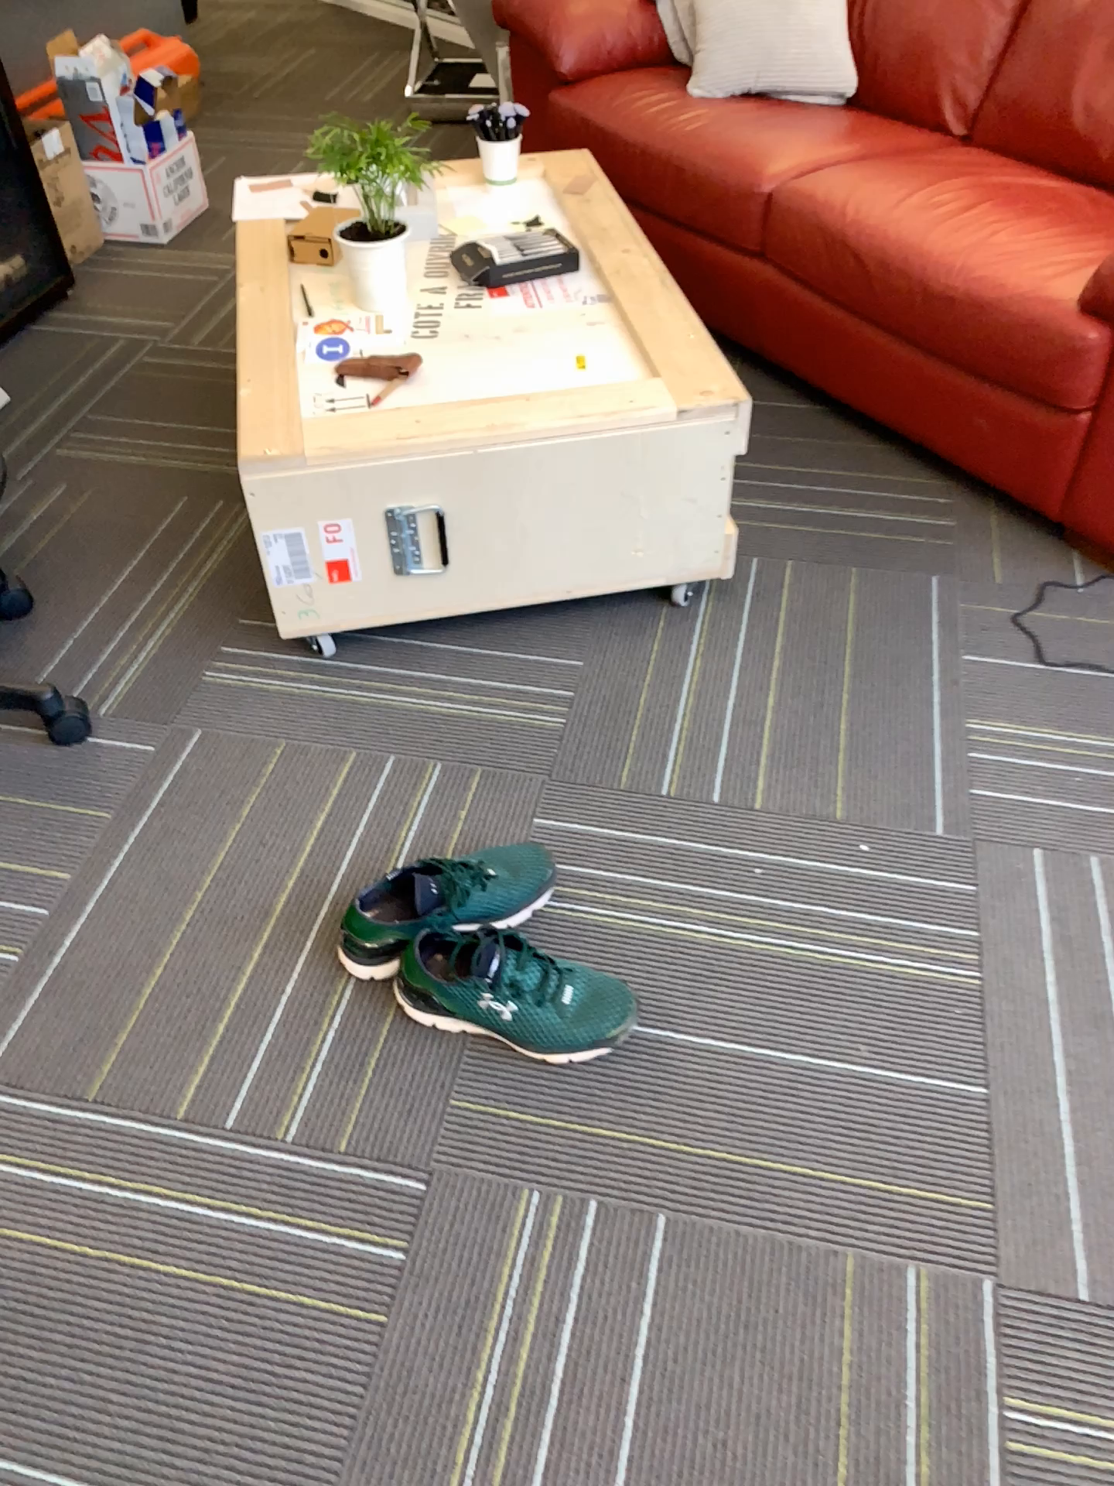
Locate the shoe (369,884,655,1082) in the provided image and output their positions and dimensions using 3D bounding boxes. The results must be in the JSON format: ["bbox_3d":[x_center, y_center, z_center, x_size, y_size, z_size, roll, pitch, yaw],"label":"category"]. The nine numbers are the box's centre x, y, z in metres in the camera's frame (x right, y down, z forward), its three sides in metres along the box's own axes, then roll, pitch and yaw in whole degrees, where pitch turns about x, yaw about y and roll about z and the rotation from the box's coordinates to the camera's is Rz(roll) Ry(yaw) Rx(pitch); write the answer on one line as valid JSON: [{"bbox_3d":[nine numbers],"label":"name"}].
[{"bbox_3d":[-0.050,0.285,1.370,0.310,0.119,0.121,11,46,12],"label":"shoe"}]

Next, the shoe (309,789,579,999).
[{"bbox_3d":[-0.138,0.187,1.449,0.310,0.109,0.121,-20,48,-17],"label":"shoe"}]
